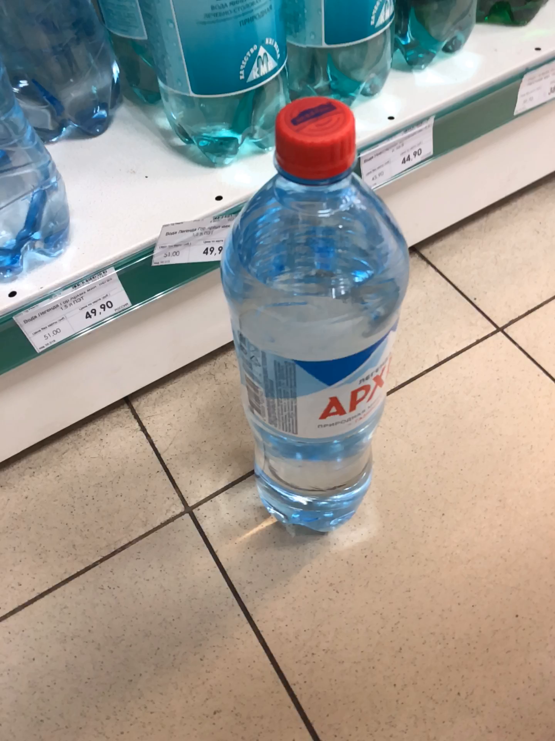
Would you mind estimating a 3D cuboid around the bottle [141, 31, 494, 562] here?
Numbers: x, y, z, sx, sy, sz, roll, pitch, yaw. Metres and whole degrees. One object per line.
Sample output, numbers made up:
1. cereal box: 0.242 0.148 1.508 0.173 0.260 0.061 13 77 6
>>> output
1. bottle: 0.023 -0.001 0.341 0.085 0.306 0.094 -2 56 2
